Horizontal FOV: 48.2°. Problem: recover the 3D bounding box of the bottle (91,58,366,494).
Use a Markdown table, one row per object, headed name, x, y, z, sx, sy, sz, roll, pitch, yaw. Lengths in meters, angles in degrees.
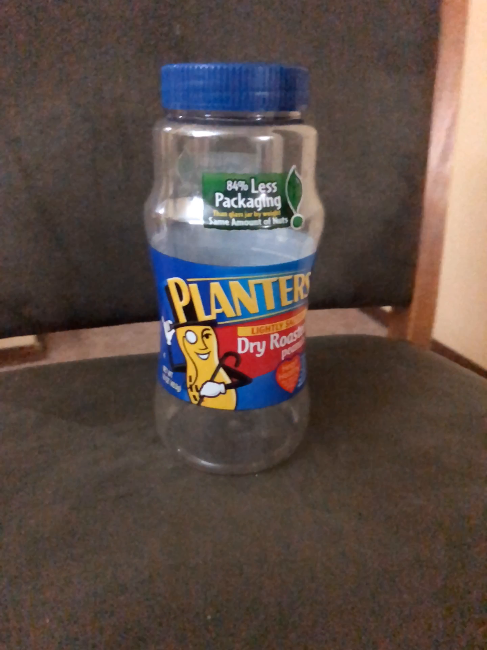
| name | x | y | z | sx | sy | sz | roll | pitch | yaw |
| --- | --- | --- | --- | --- | --- | --- | --- | --- | --- |
| bottle | -0.012 | -0.023 | 0.245 | 0.090 | 0.170 | 0.080 | -3 | 24 | -11 |
